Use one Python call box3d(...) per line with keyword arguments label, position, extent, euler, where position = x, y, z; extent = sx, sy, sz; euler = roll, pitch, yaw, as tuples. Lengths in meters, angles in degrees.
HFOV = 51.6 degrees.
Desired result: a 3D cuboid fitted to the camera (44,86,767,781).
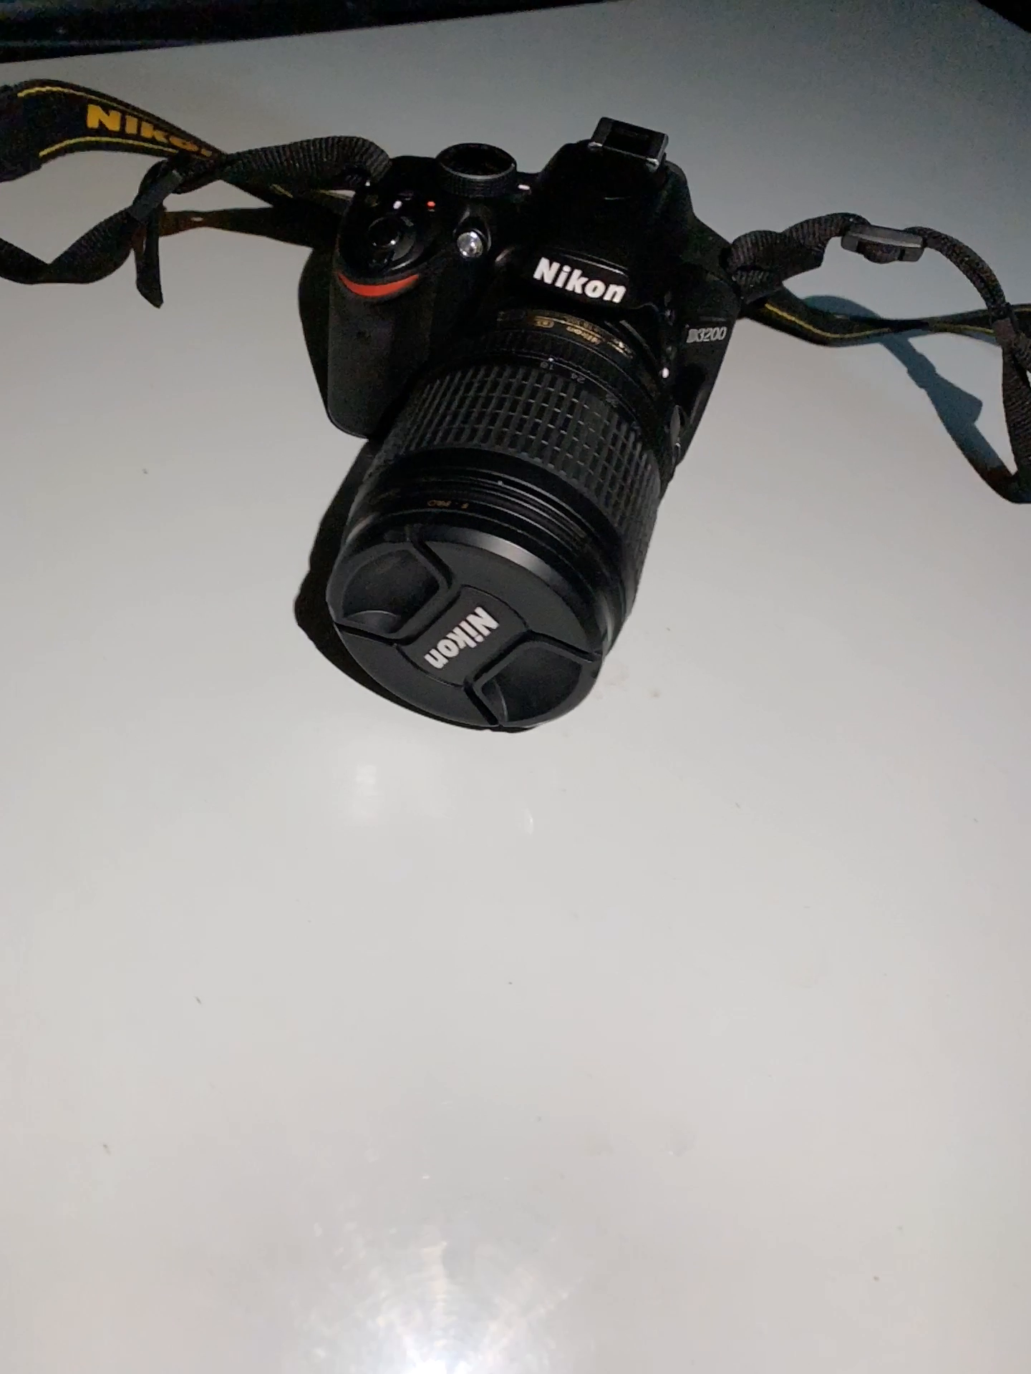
box3d(label="camera", position=(-0.011, -0.092, 0.318), extent=(0.126, 0.099, 0.202), euler=(14, 44, 12))
